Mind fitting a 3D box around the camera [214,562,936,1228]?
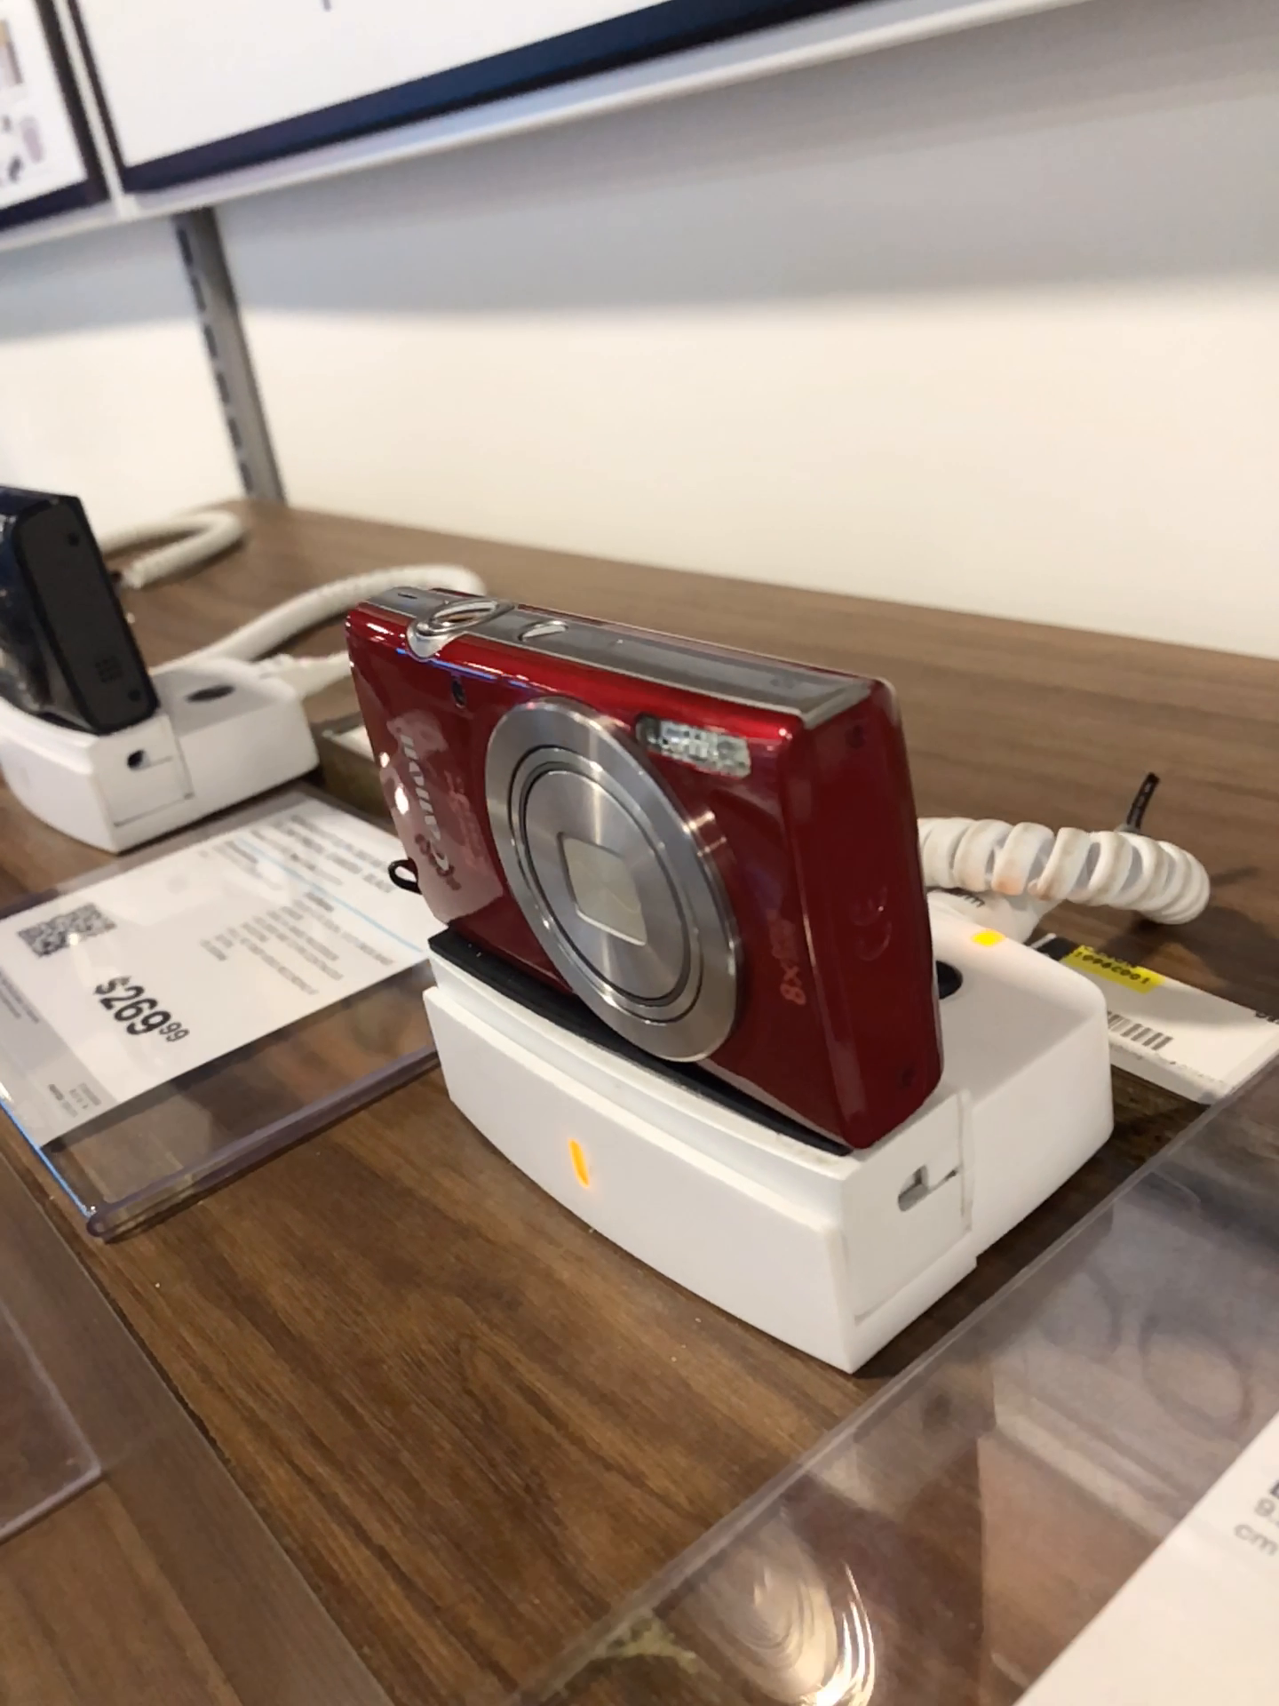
[{"bbox_3d":[-0.013,-0.003,0.177,0.030,0.050,0.101,-24,28,-30],"label":"camera"}]
